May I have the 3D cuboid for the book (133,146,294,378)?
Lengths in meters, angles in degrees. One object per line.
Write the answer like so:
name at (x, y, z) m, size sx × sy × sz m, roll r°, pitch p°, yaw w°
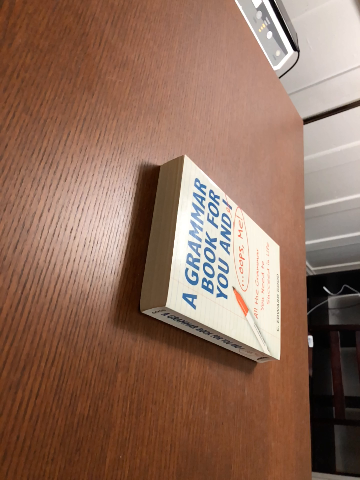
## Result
book at (0.058, 0.041, 0.431) m, size 0.241 × 0.040 × 0.170 m, roll 36°, pitch 52°, yaw -45°
